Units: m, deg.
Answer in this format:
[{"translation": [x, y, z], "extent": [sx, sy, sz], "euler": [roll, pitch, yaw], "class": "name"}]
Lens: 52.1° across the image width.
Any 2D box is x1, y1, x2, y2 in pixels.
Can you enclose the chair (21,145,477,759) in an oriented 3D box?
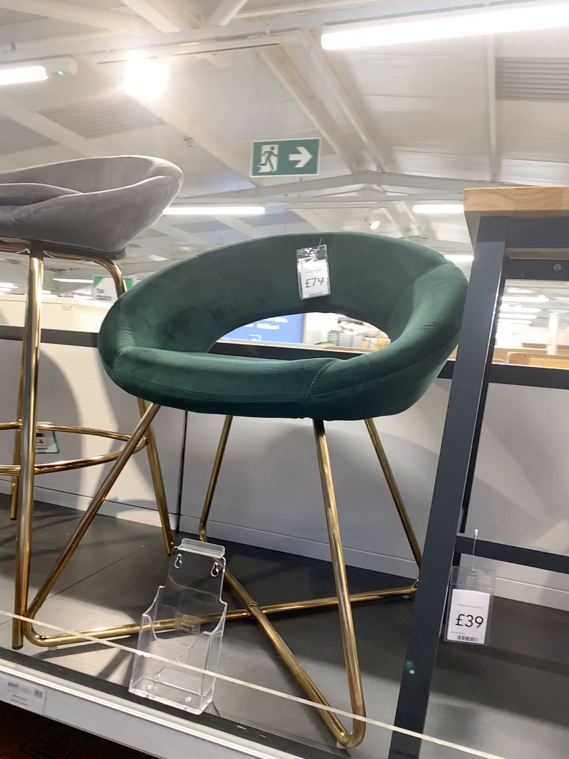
[{"translation": [-0.011, 0.062, 1.089], "extent": [0.629, 0.776, 0.554], "euler": [5, 3, 19], "class": "chair"}]
